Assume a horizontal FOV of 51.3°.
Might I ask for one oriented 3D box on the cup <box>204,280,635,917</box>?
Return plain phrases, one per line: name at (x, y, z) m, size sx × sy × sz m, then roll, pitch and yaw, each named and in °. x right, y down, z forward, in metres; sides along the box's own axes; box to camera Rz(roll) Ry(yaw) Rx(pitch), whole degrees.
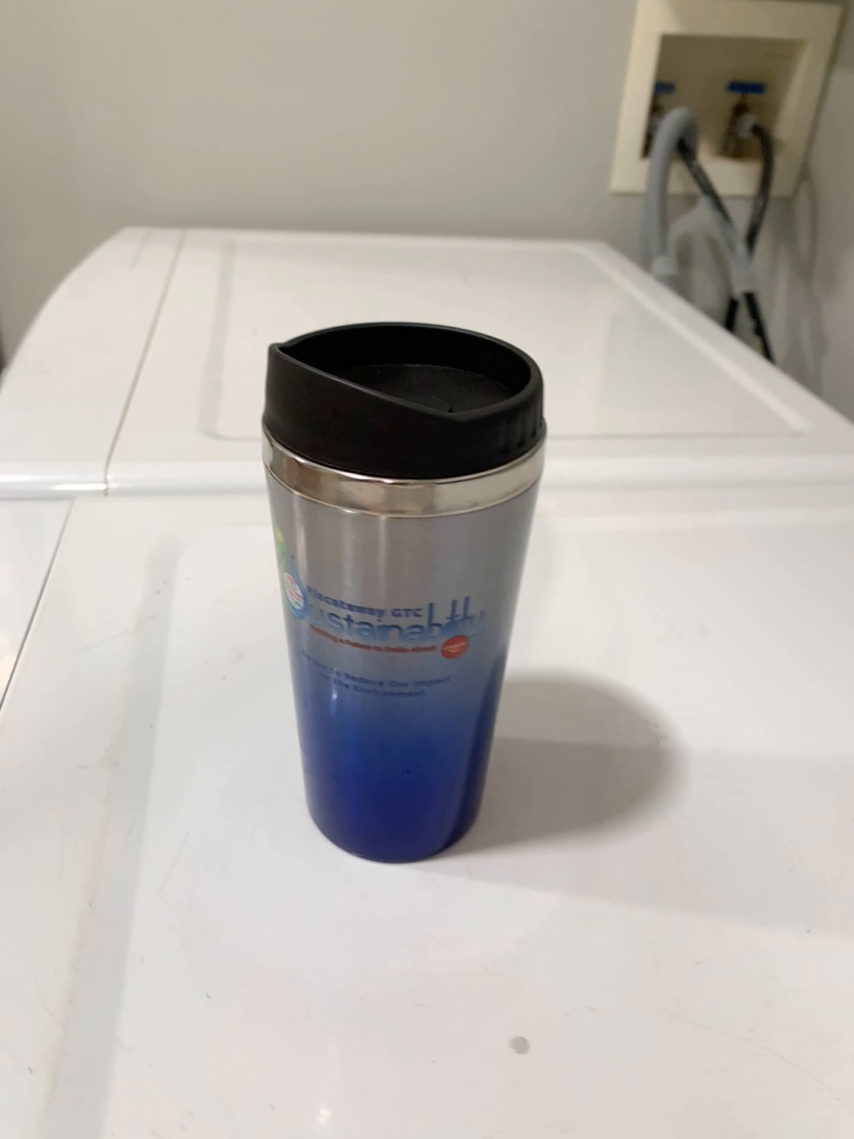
cup at (-0.008, 0.007, 0.290) m, size 0.090 × 0.171 × 0.080 m, roll -20°, pitch 39°, yaw -33°
